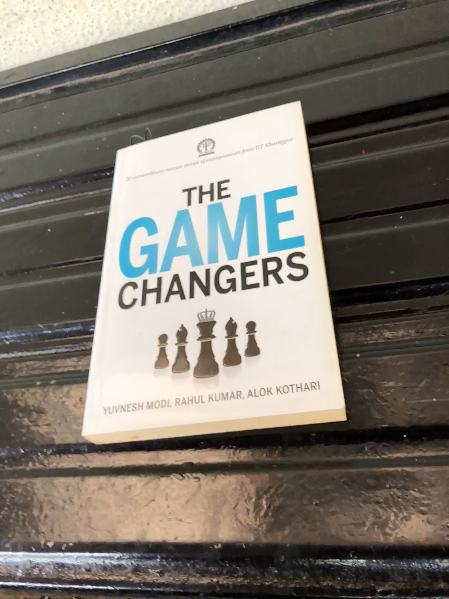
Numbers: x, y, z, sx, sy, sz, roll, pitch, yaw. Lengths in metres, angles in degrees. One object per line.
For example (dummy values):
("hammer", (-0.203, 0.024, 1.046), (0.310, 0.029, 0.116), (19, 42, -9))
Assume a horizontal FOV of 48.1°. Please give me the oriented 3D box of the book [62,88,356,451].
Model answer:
("book", (-0.010, -0.023, 0.274), (0.130, 0.030, 0.190), (-9, 60, 14))
